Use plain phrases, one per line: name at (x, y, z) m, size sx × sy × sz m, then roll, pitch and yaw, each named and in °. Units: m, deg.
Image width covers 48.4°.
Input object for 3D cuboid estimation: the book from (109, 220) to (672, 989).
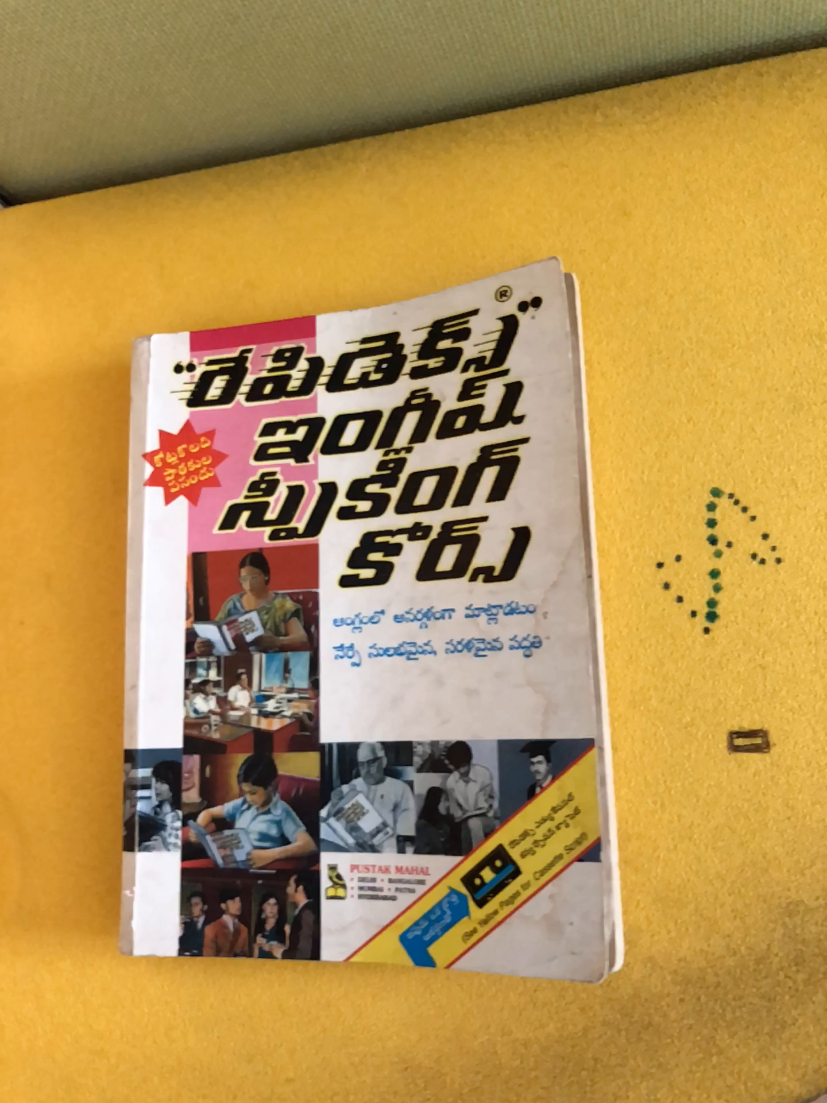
book at (-0.015, 0.017, 0.336) m, size 0.190 × 0.030 × 0.250 m, roll -5°, pitch 78°, yaw 15°
